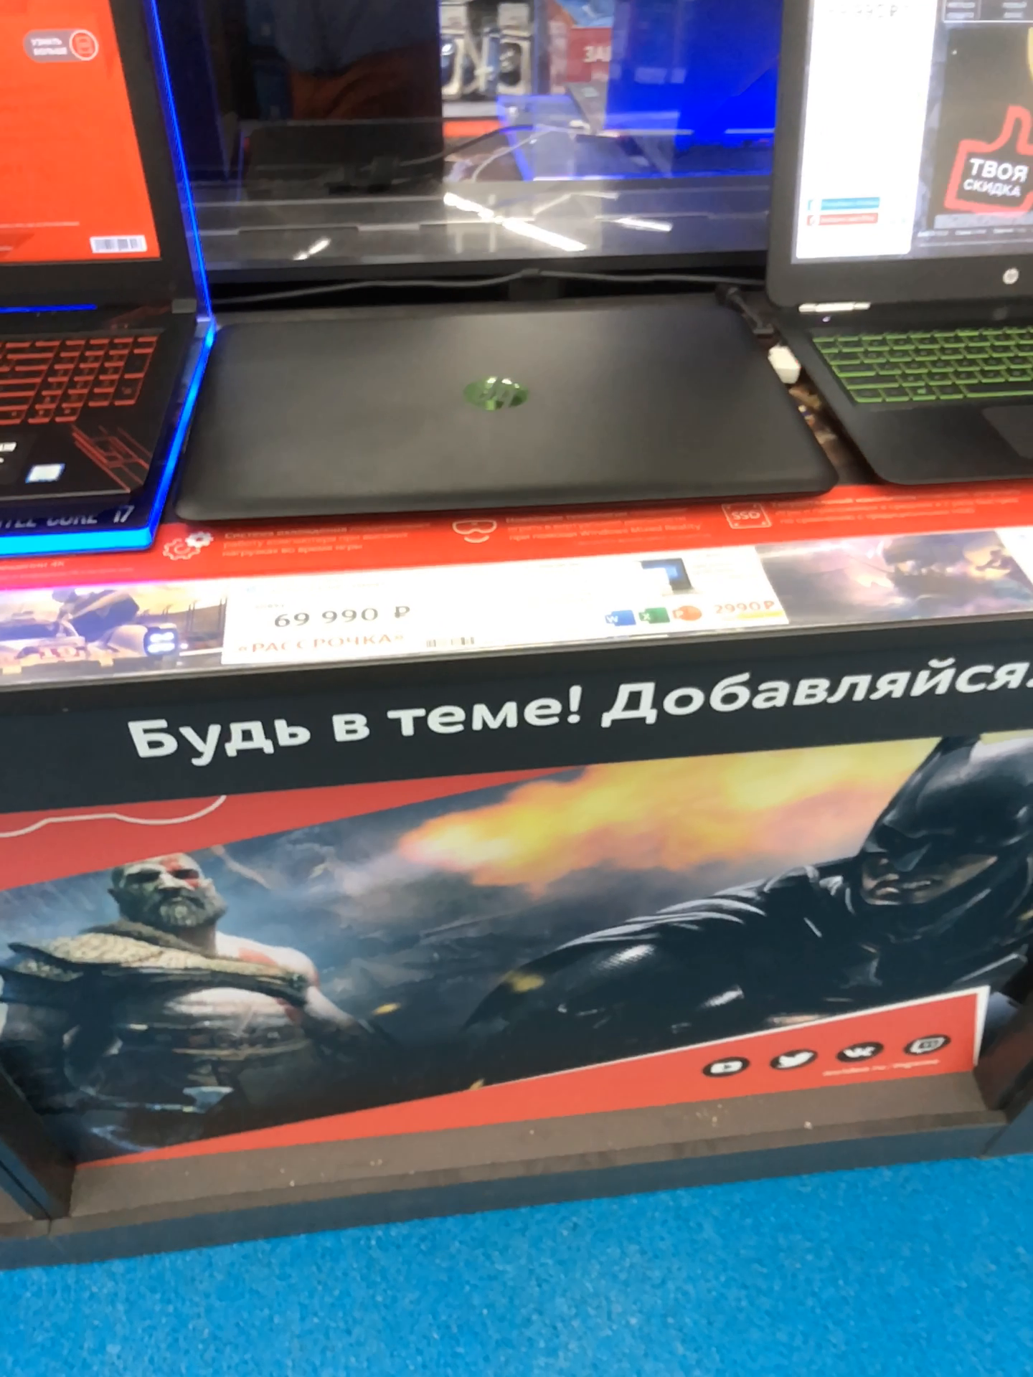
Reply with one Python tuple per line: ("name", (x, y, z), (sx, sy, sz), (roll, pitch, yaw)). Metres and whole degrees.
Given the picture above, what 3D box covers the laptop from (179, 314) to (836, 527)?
("laptop", (-0.012, -0.179, 0.721), (0.365, 0.012, 0.234), (-2, 42, -5))
